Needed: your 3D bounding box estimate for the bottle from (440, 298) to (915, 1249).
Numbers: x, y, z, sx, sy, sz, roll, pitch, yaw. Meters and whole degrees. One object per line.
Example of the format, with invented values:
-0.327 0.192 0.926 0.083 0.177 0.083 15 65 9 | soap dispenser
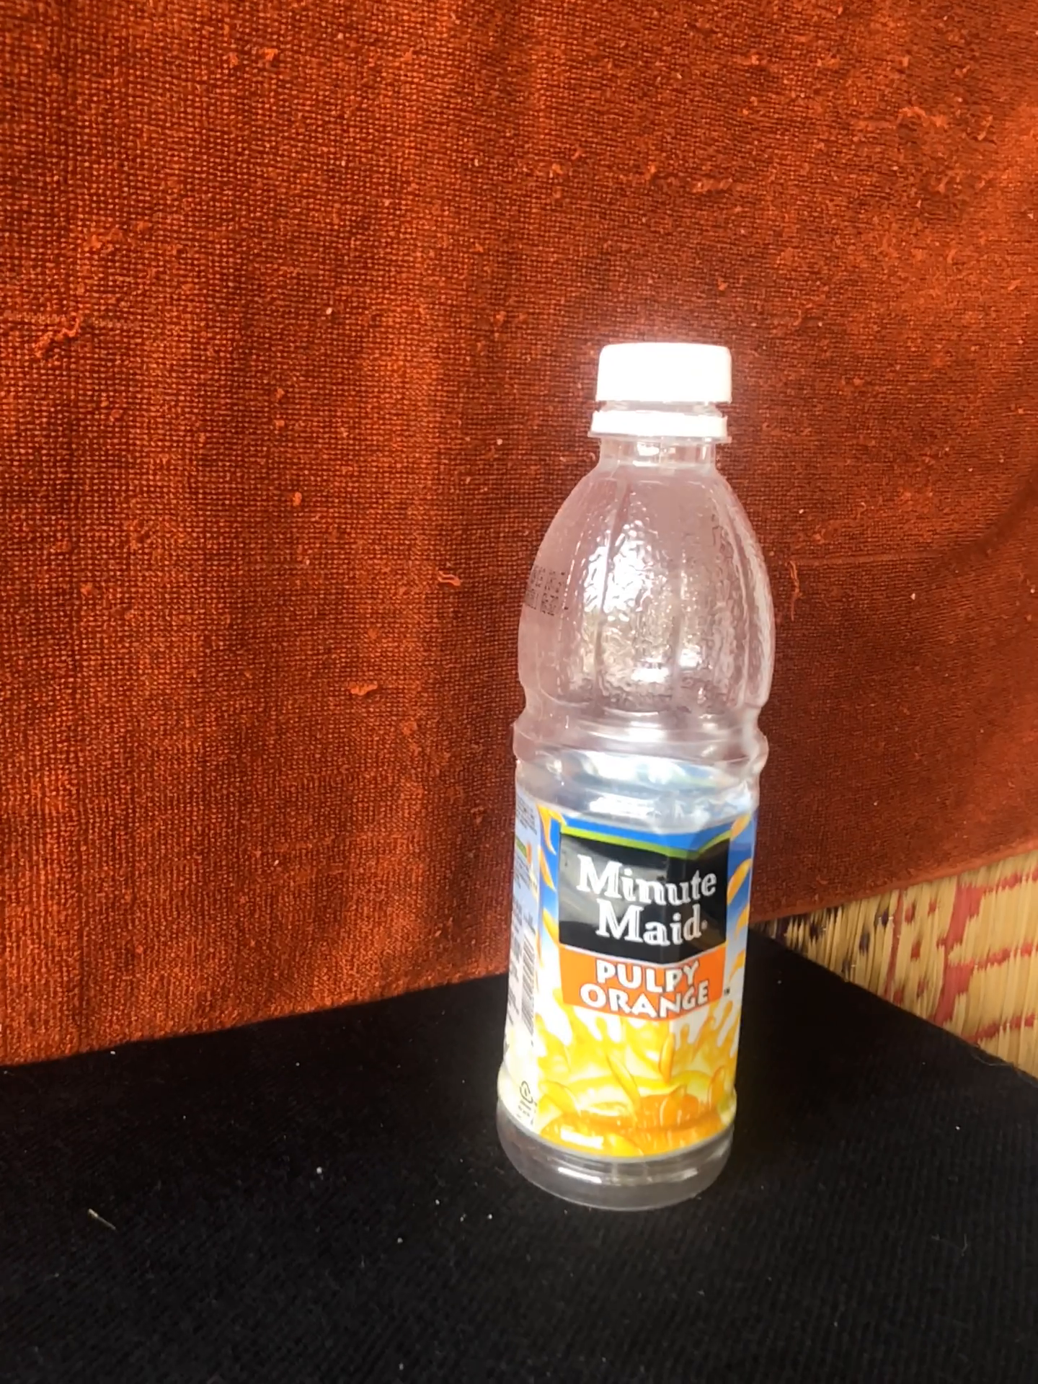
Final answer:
0.029 0.018 0.275 0.070 0.199 0.070 5 11 -1 | bottle
